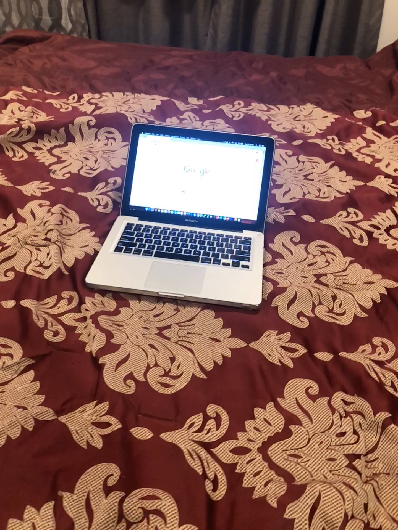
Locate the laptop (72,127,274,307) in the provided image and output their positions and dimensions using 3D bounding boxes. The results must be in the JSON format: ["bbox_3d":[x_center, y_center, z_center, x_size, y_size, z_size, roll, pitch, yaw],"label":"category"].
[{"bbox_3d":[-0.019,-0.109,0.806,0.292,0.133,0.344,7,40,4],"label":"laptop"}]
